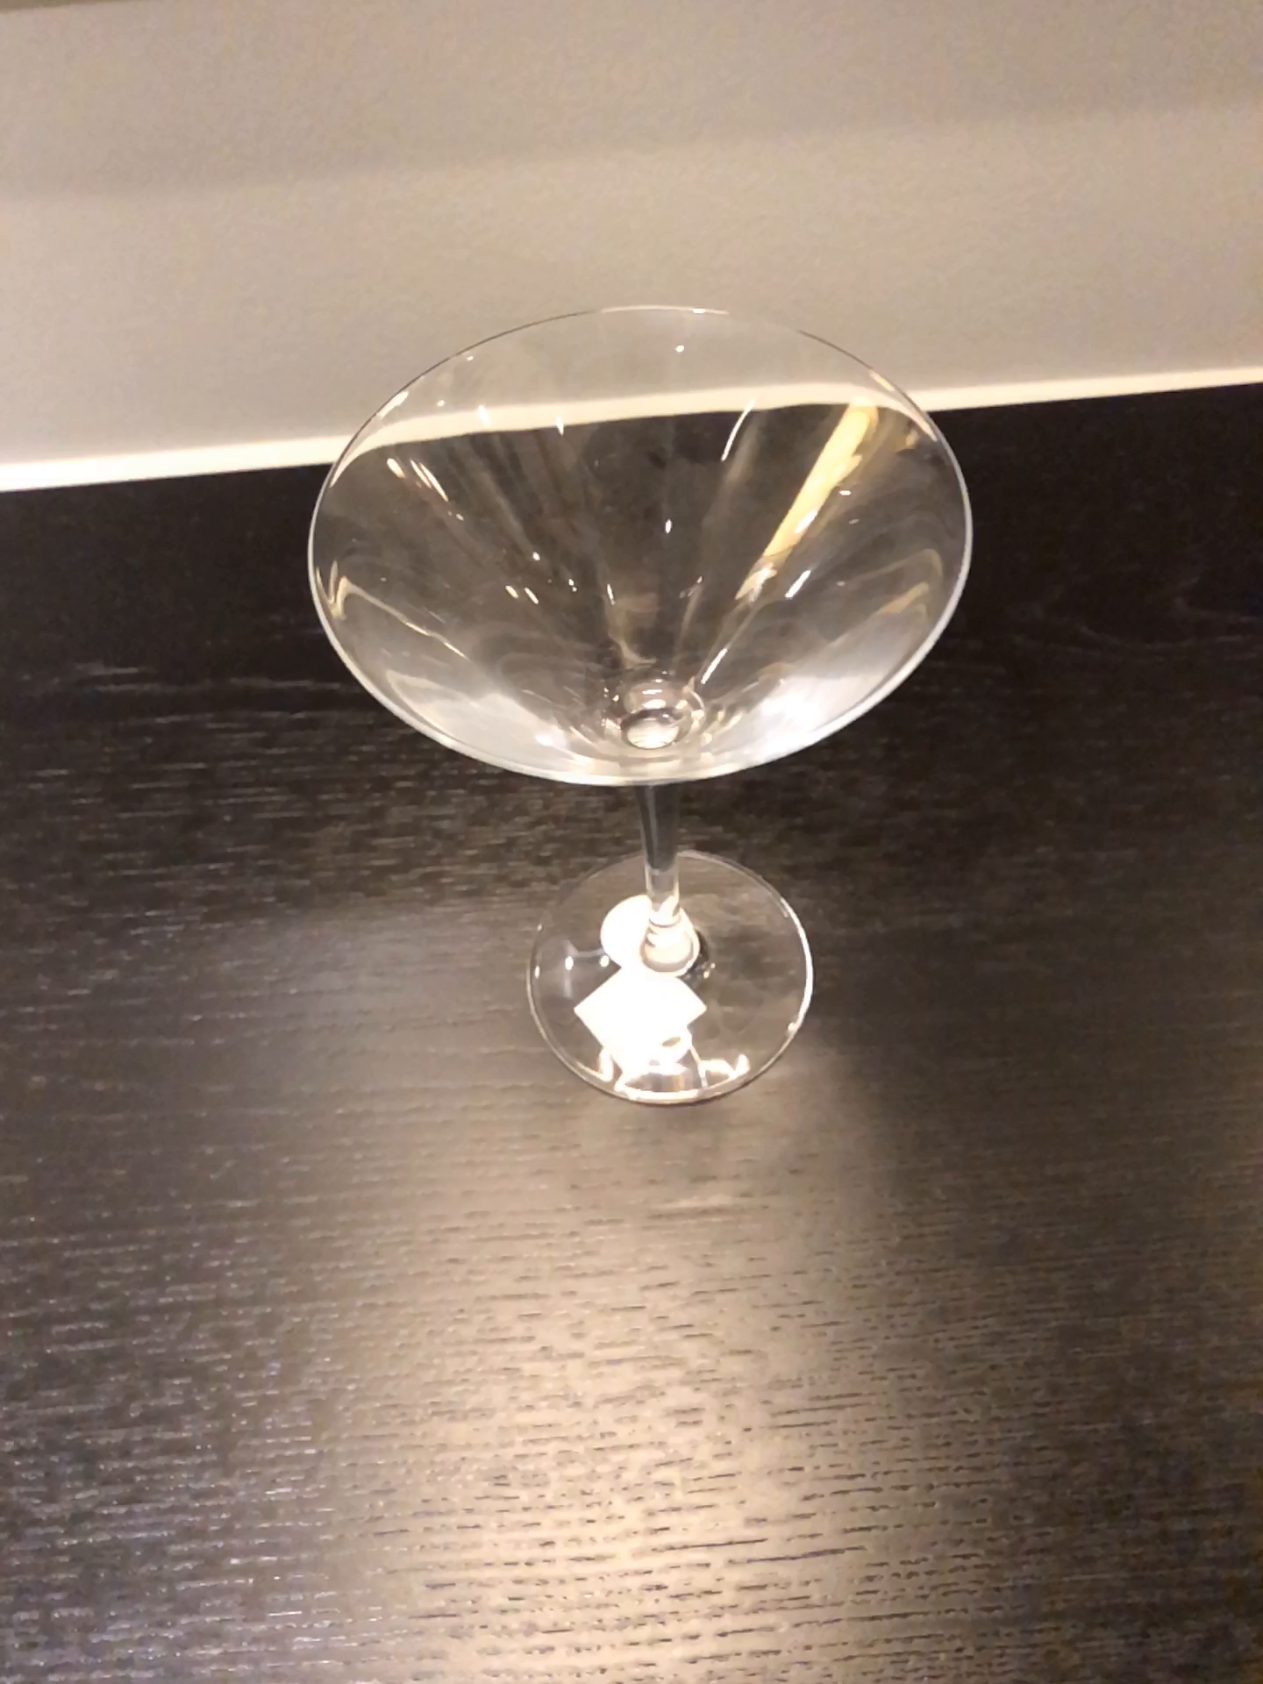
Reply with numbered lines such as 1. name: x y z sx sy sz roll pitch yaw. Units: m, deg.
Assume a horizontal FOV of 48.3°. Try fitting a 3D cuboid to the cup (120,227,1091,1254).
1. cup: 0.000 -0.017 0.321 0.130 0.159 0.120 -1 56 2
